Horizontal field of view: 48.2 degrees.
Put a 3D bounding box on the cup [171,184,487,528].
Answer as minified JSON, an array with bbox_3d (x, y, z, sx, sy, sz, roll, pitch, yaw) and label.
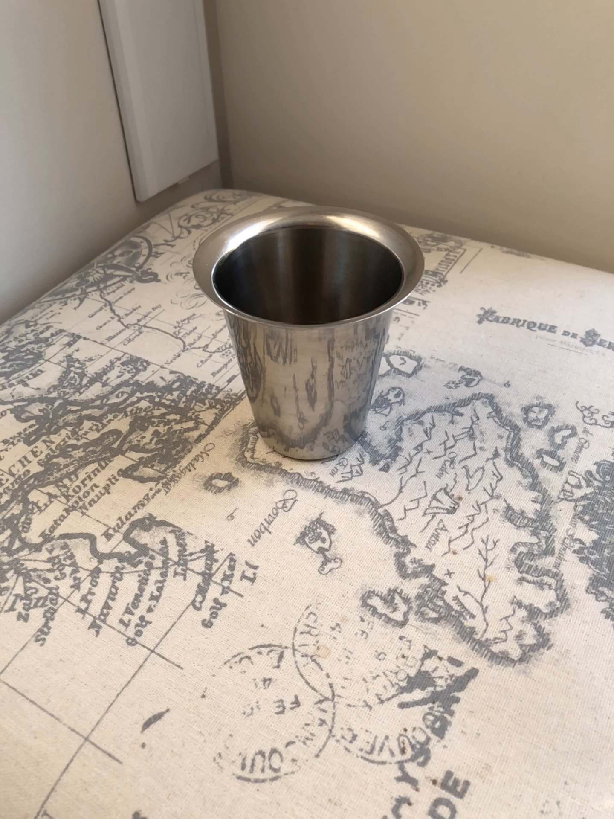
[{"bbox_3d":[0.004,-0.024,0.261,0.081,0.081,0.084,0,41,0],"label":"cup"}]
